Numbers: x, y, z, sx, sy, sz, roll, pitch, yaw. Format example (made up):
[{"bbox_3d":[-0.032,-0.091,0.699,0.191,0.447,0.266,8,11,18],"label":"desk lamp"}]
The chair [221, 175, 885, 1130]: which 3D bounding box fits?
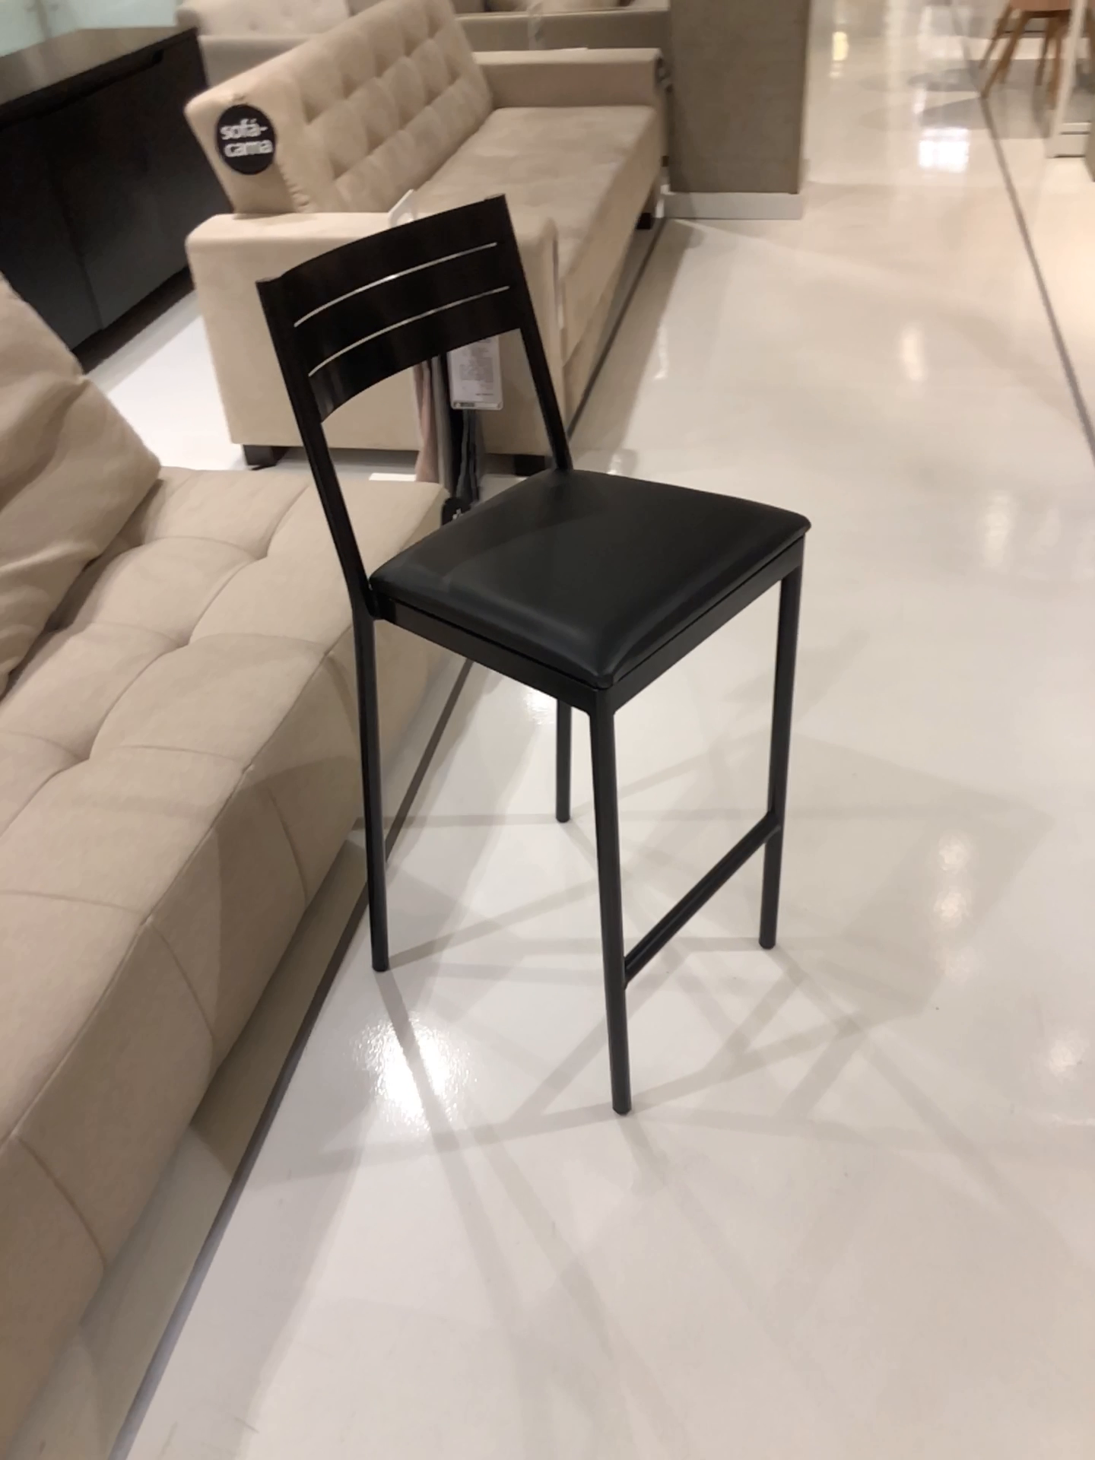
[{"bbox_3d":[0.031,-0.078,1.420,0.471,0.943,0.422,25,46,32],"label":"chair"}]
